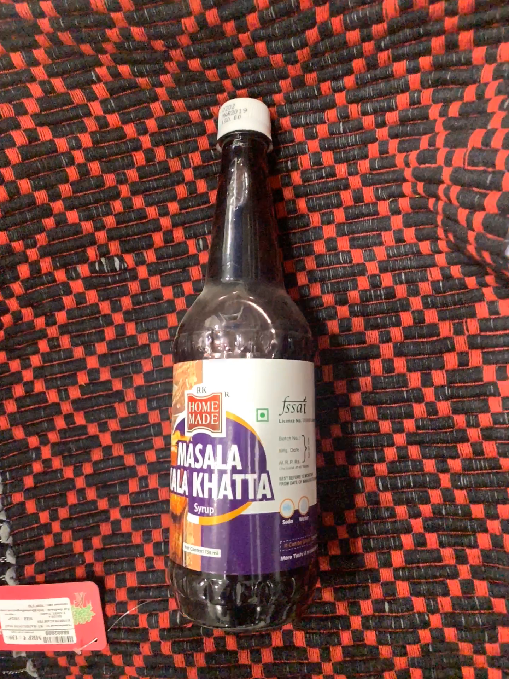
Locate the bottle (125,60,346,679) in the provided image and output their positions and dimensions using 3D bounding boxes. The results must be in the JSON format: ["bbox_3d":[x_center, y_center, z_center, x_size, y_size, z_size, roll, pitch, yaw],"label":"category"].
[{"bbox_3d":[-0.005,0.009,0.269,0.080,0.080,0.260,-4,79,19],"label":"bottle"}]
